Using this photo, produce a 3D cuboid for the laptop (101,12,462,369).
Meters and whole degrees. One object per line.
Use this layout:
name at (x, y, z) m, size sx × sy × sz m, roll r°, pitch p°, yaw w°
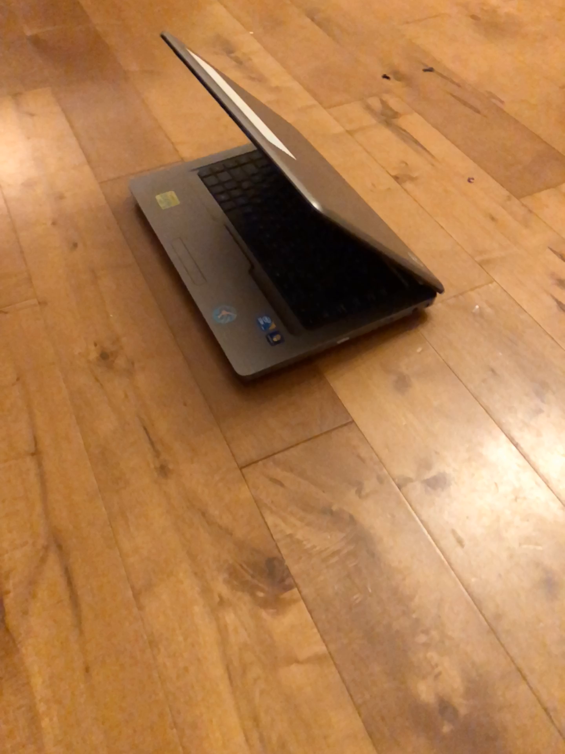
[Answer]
laptop at (-0.021, -0.221, 0.676) m, size 0.223 × 0.164 × 0.348 m, roll -22°, pitch 55°, yaw -15°
